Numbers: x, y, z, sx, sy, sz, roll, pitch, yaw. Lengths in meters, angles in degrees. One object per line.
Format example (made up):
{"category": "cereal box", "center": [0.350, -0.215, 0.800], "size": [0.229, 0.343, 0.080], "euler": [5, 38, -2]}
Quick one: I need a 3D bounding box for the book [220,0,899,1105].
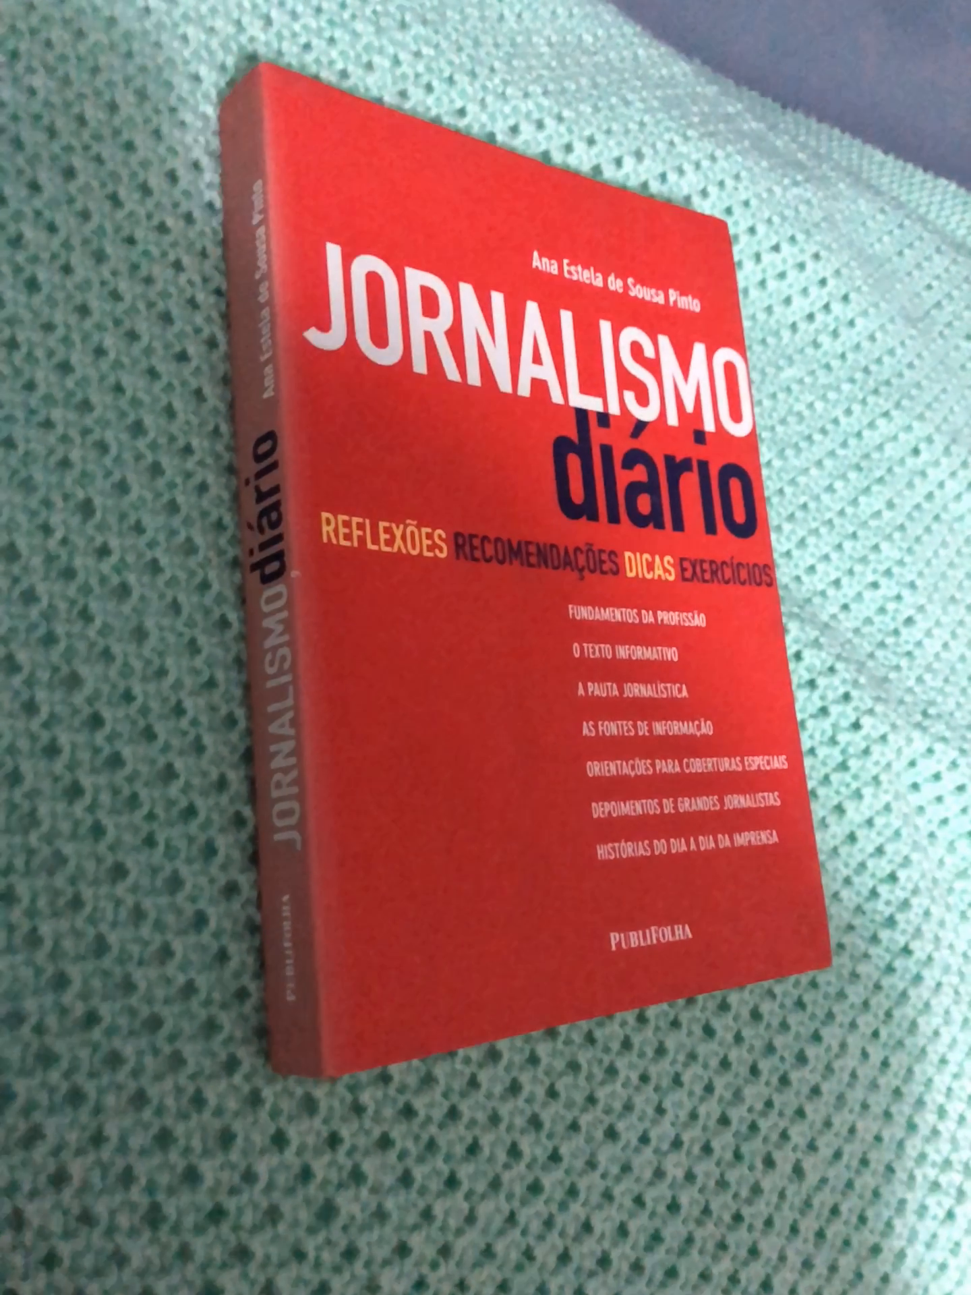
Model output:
{"category": "book", "center": [0.020, -0.034, 0.276], "size": [0.161, 0.030, 0.250], "euler": [2, 77, -31]}
